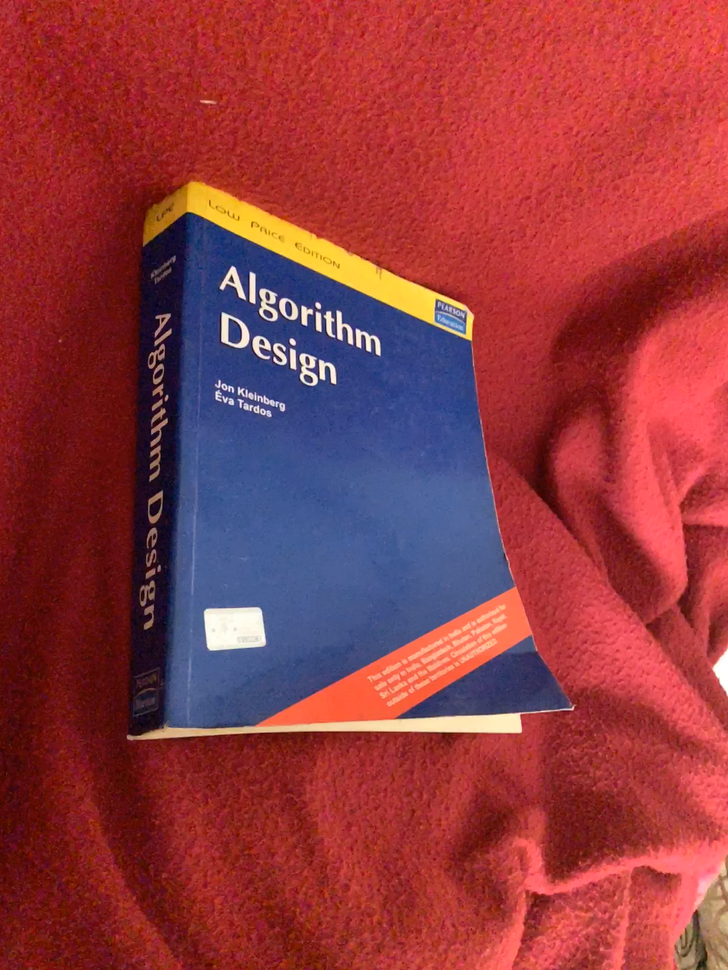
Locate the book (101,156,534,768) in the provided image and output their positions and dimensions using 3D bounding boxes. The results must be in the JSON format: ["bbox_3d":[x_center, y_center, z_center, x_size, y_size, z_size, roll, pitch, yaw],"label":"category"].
[{"bbox_3d":[-0.017,-0.002,0.369,0.191,0.060,0.250,14,63,-40],"label":"book"}]
